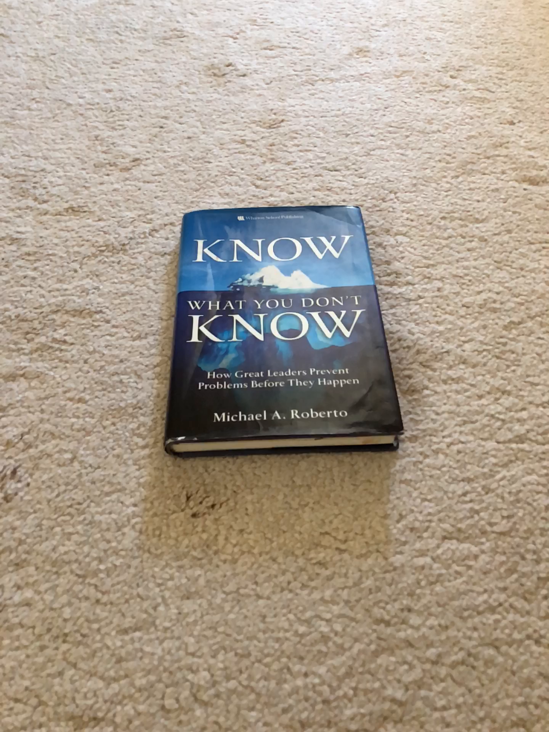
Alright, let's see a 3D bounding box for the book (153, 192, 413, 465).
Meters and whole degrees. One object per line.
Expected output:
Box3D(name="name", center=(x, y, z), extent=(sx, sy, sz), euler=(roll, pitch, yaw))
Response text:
Box3D(name="book", center=(0.001, -0.043, 0.460), extent=(0.160, 0.034, 0.241), euler=(-1, 52, -2))
